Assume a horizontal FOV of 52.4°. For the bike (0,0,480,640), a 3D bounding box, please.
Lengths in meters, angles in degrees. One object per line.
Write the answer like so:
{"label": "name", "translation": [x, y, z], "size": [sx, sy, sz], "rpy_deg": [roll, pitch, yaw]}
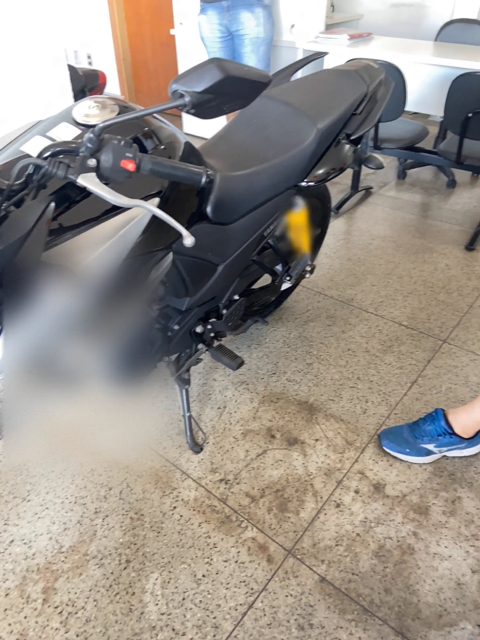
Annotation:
{"label": "bike", "translation": [-0.063, -0.071, 1.192], "size": [0.816, 1.331, 2.013], "rpy_deg": [19, 40, 27]}
